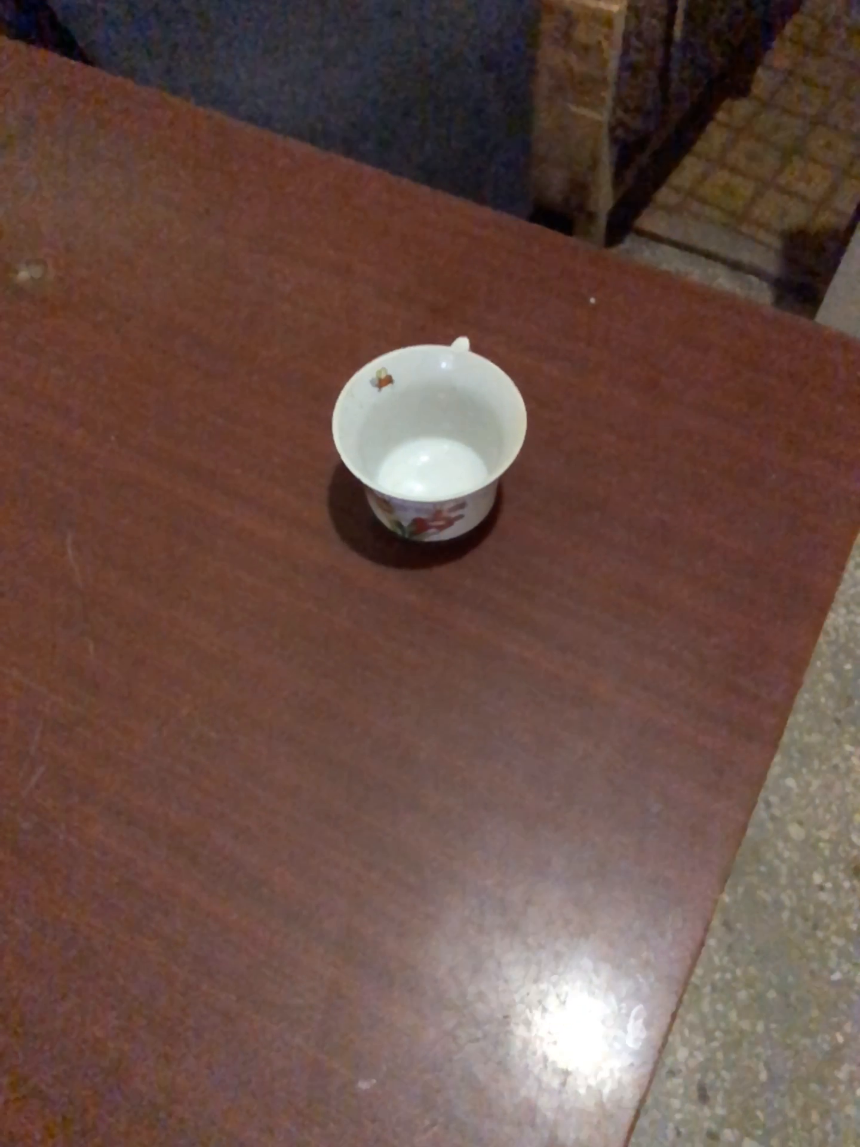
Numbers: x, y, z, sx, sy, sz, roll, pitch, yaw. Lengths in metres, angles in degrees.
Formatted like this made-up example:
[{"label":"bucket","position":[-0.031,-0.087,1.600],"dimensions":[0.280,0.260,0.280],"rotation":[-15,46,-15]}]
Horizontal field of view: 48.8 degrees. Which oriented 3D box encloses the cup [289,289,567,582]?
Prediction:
[{"label":"cup","position":[0.002,-0.070,0.471],"dimensions":[0.100,0.059,0.110],"rotation":[16,63,10]}]
